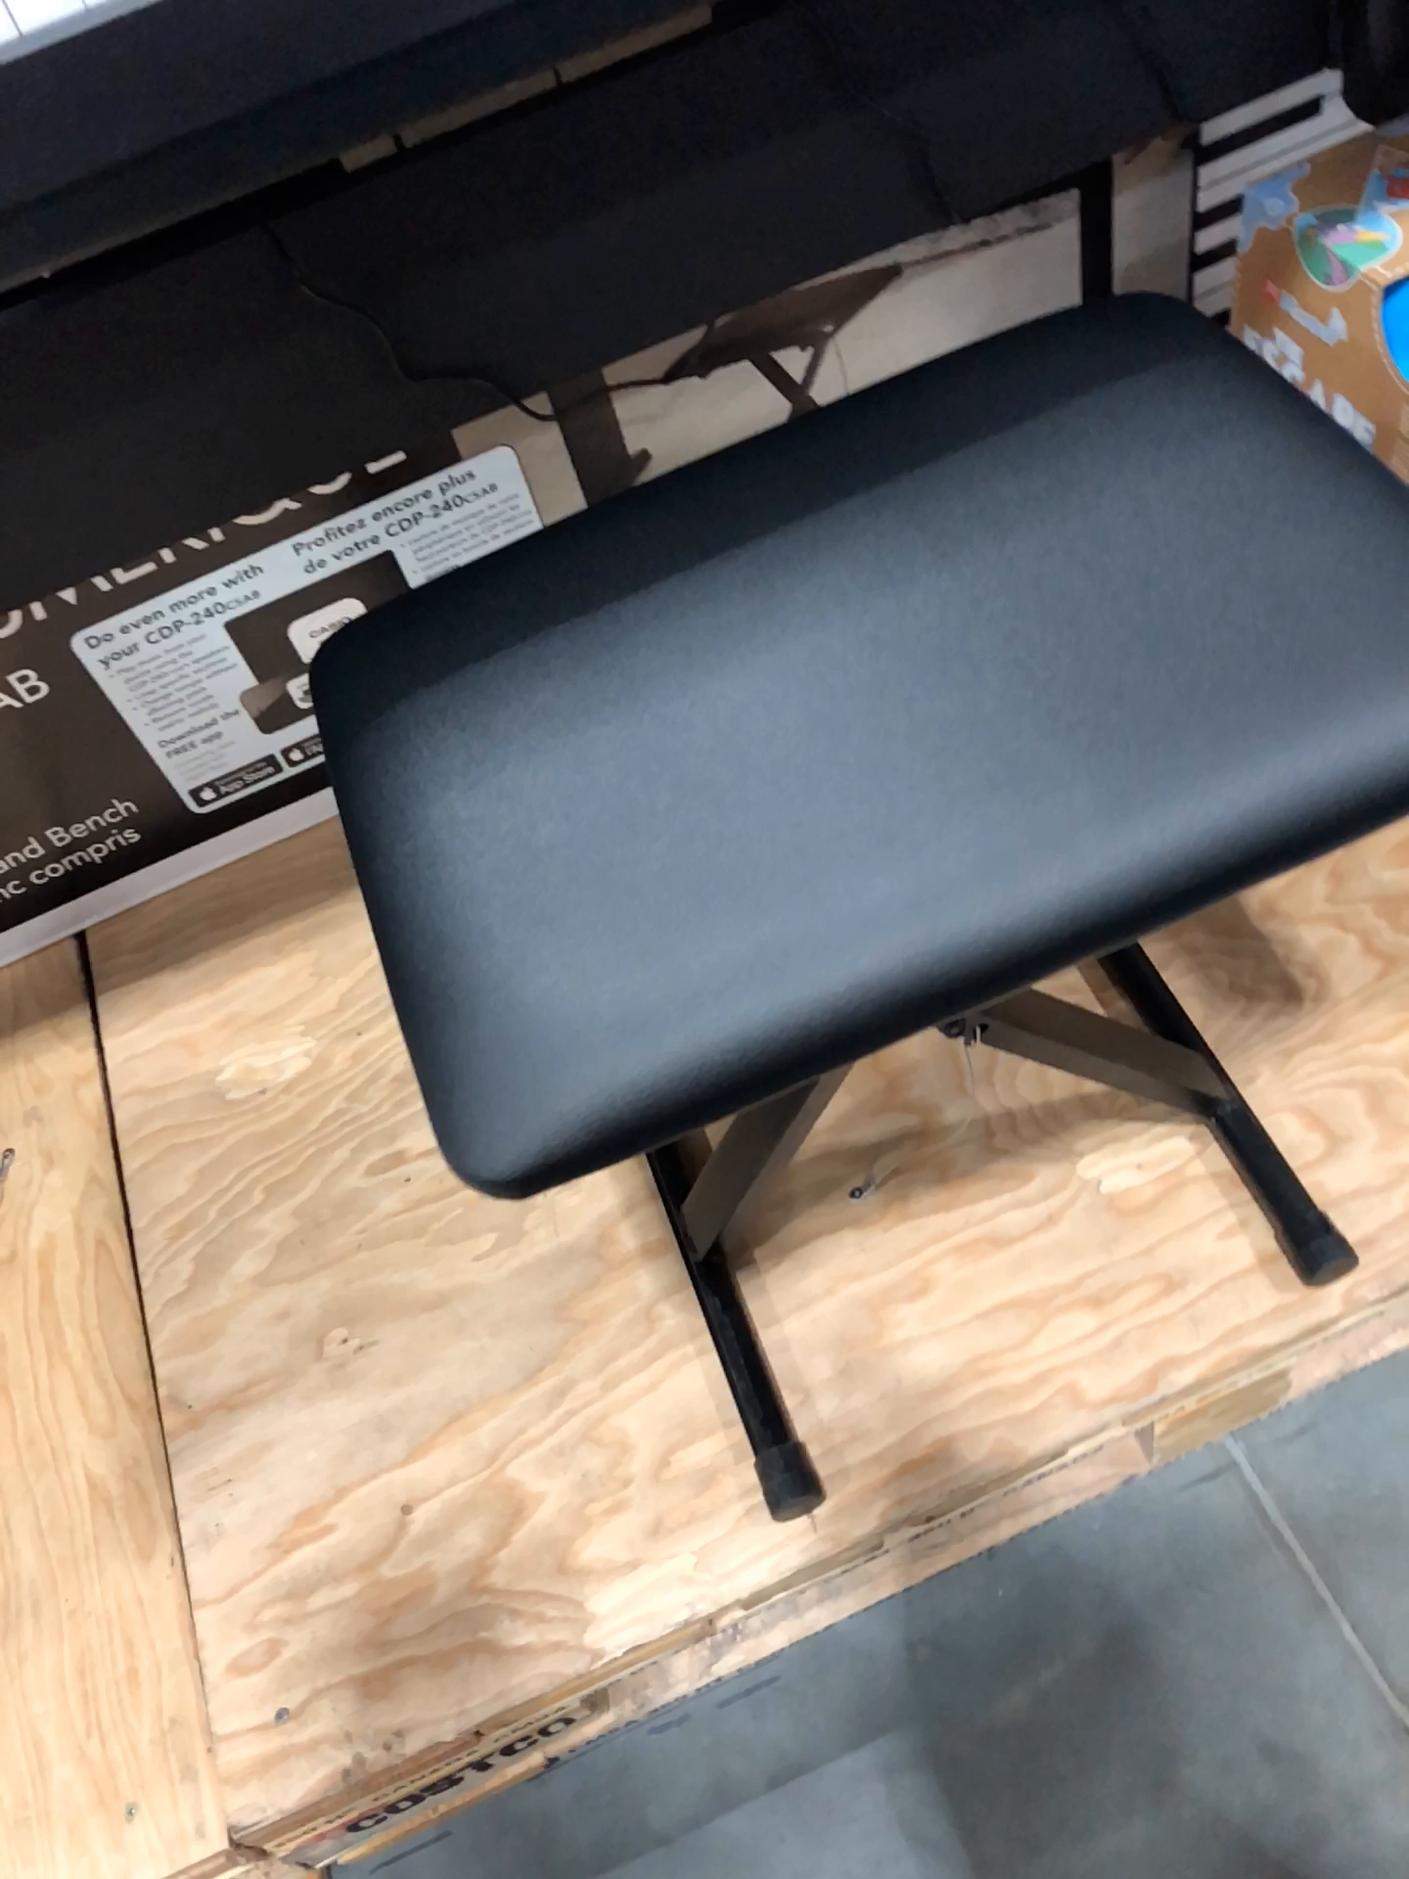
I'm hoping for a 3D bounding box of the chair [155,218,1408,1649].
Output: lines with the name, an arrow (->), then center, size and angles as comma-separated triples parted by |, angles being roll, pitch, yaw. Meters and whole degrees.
chair -> 0.088, -0.009, 0.678 | 0.510, 0.279, 0.371 | -23, 52, -3
